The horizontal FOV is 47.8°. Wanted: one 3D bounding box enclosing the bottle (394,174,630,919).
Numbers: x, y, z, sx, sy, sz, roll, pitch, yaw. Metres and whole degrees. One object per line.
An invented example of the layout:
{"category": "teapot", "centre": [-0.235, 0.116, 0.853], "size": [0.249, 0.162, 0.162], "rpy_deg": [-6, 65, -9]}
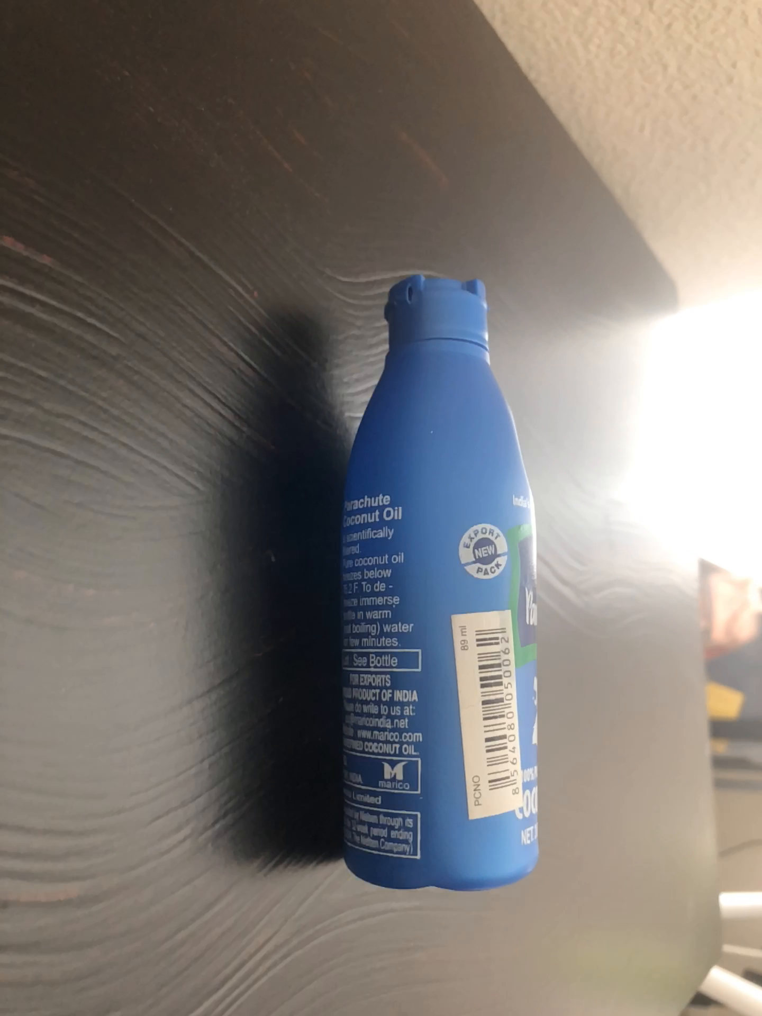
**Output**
{"category": "bottle", "centre": [0.024, 0.006, 0.181], "size": [0.040, 0.040, 0.140], "rpy_deg": [70, 20, -79]}
